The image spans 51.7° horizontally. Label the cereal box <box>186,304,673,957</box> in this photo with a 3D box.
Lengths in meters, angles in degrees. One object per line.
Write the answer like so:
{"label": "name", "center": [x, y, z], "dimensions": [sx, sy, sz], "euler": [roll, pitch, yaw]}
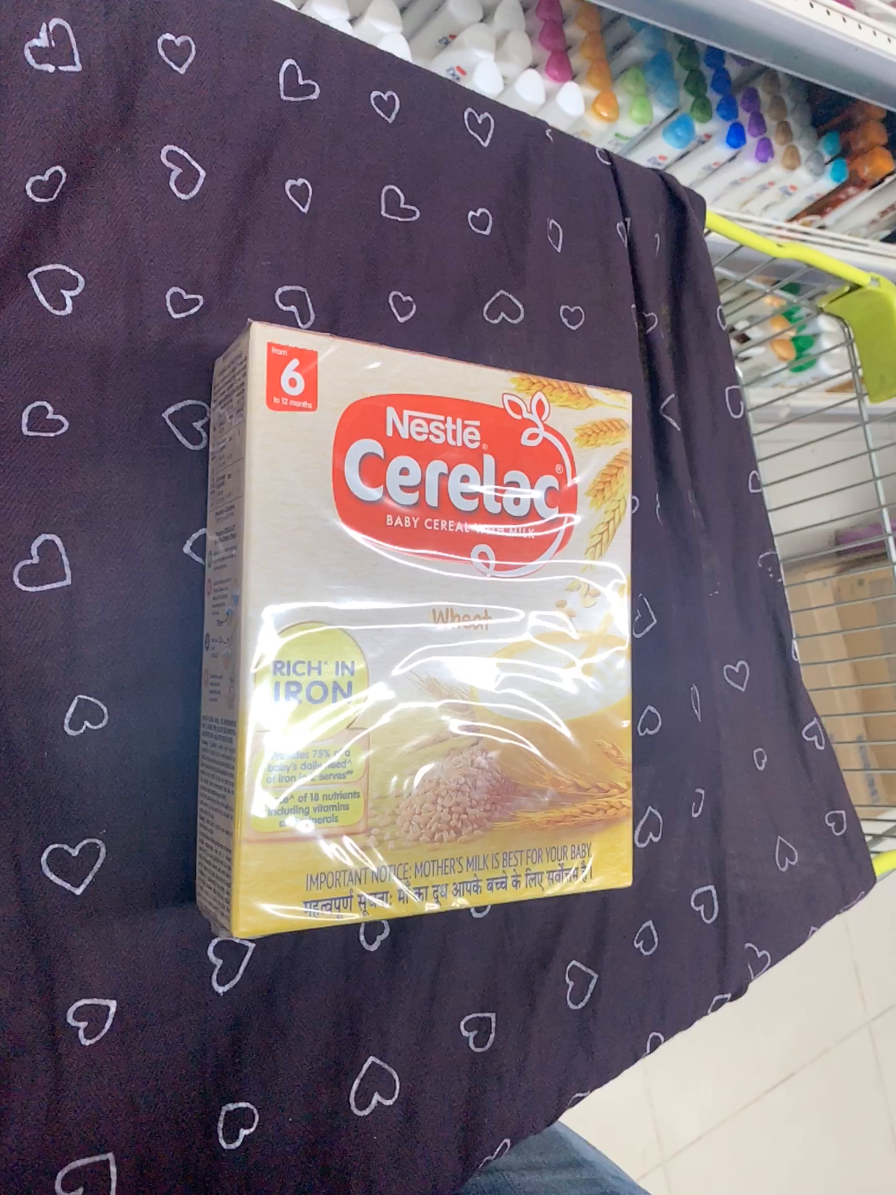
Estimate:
{"label": "cereal box", "center": [0.000, 0.011, 0.278], "dimensions": [0.141, 0.040, 0.160], "euler": [3, 86, -29]}
